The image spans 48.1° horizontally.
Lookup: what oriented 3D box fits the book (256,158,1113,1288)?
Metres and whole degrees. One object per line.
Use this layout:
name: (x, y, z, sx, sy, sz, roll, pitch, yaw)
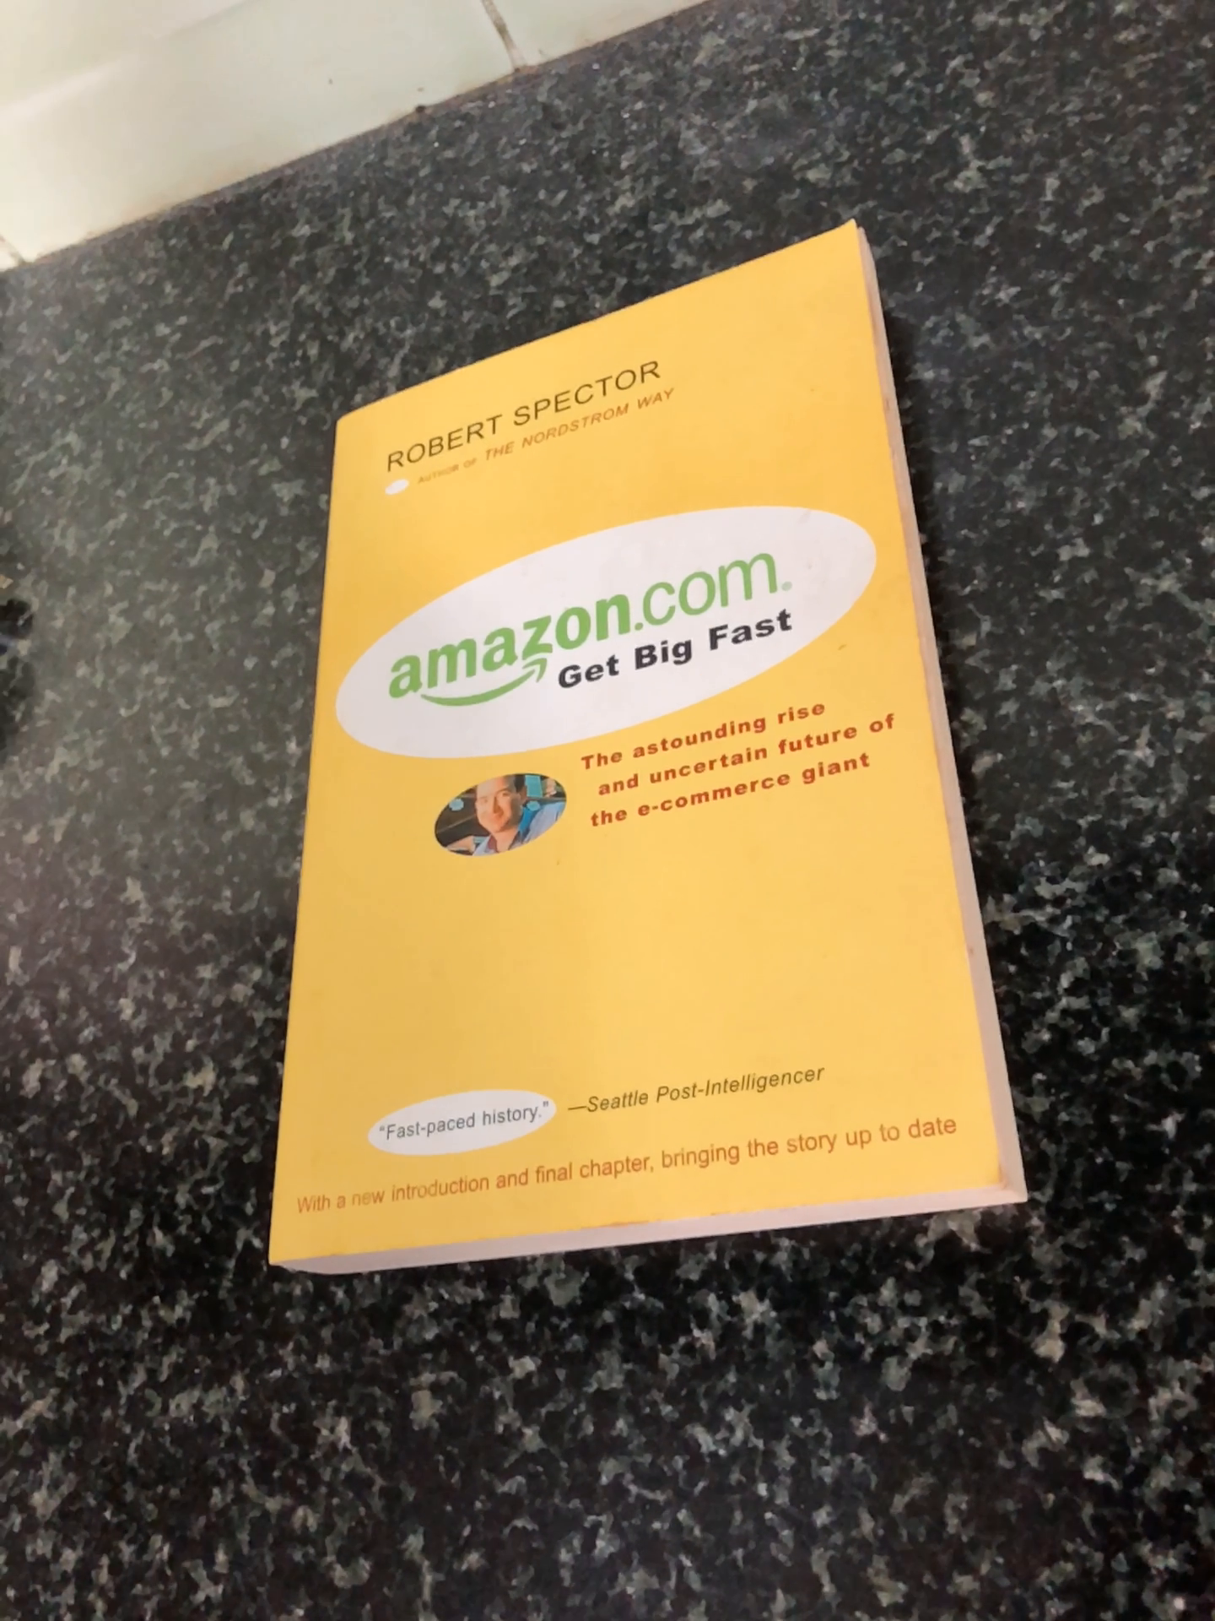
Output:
book: (0.006, -0.022, 0.273, 0.140, 0.030, 0.210, -13, 61, 21)
